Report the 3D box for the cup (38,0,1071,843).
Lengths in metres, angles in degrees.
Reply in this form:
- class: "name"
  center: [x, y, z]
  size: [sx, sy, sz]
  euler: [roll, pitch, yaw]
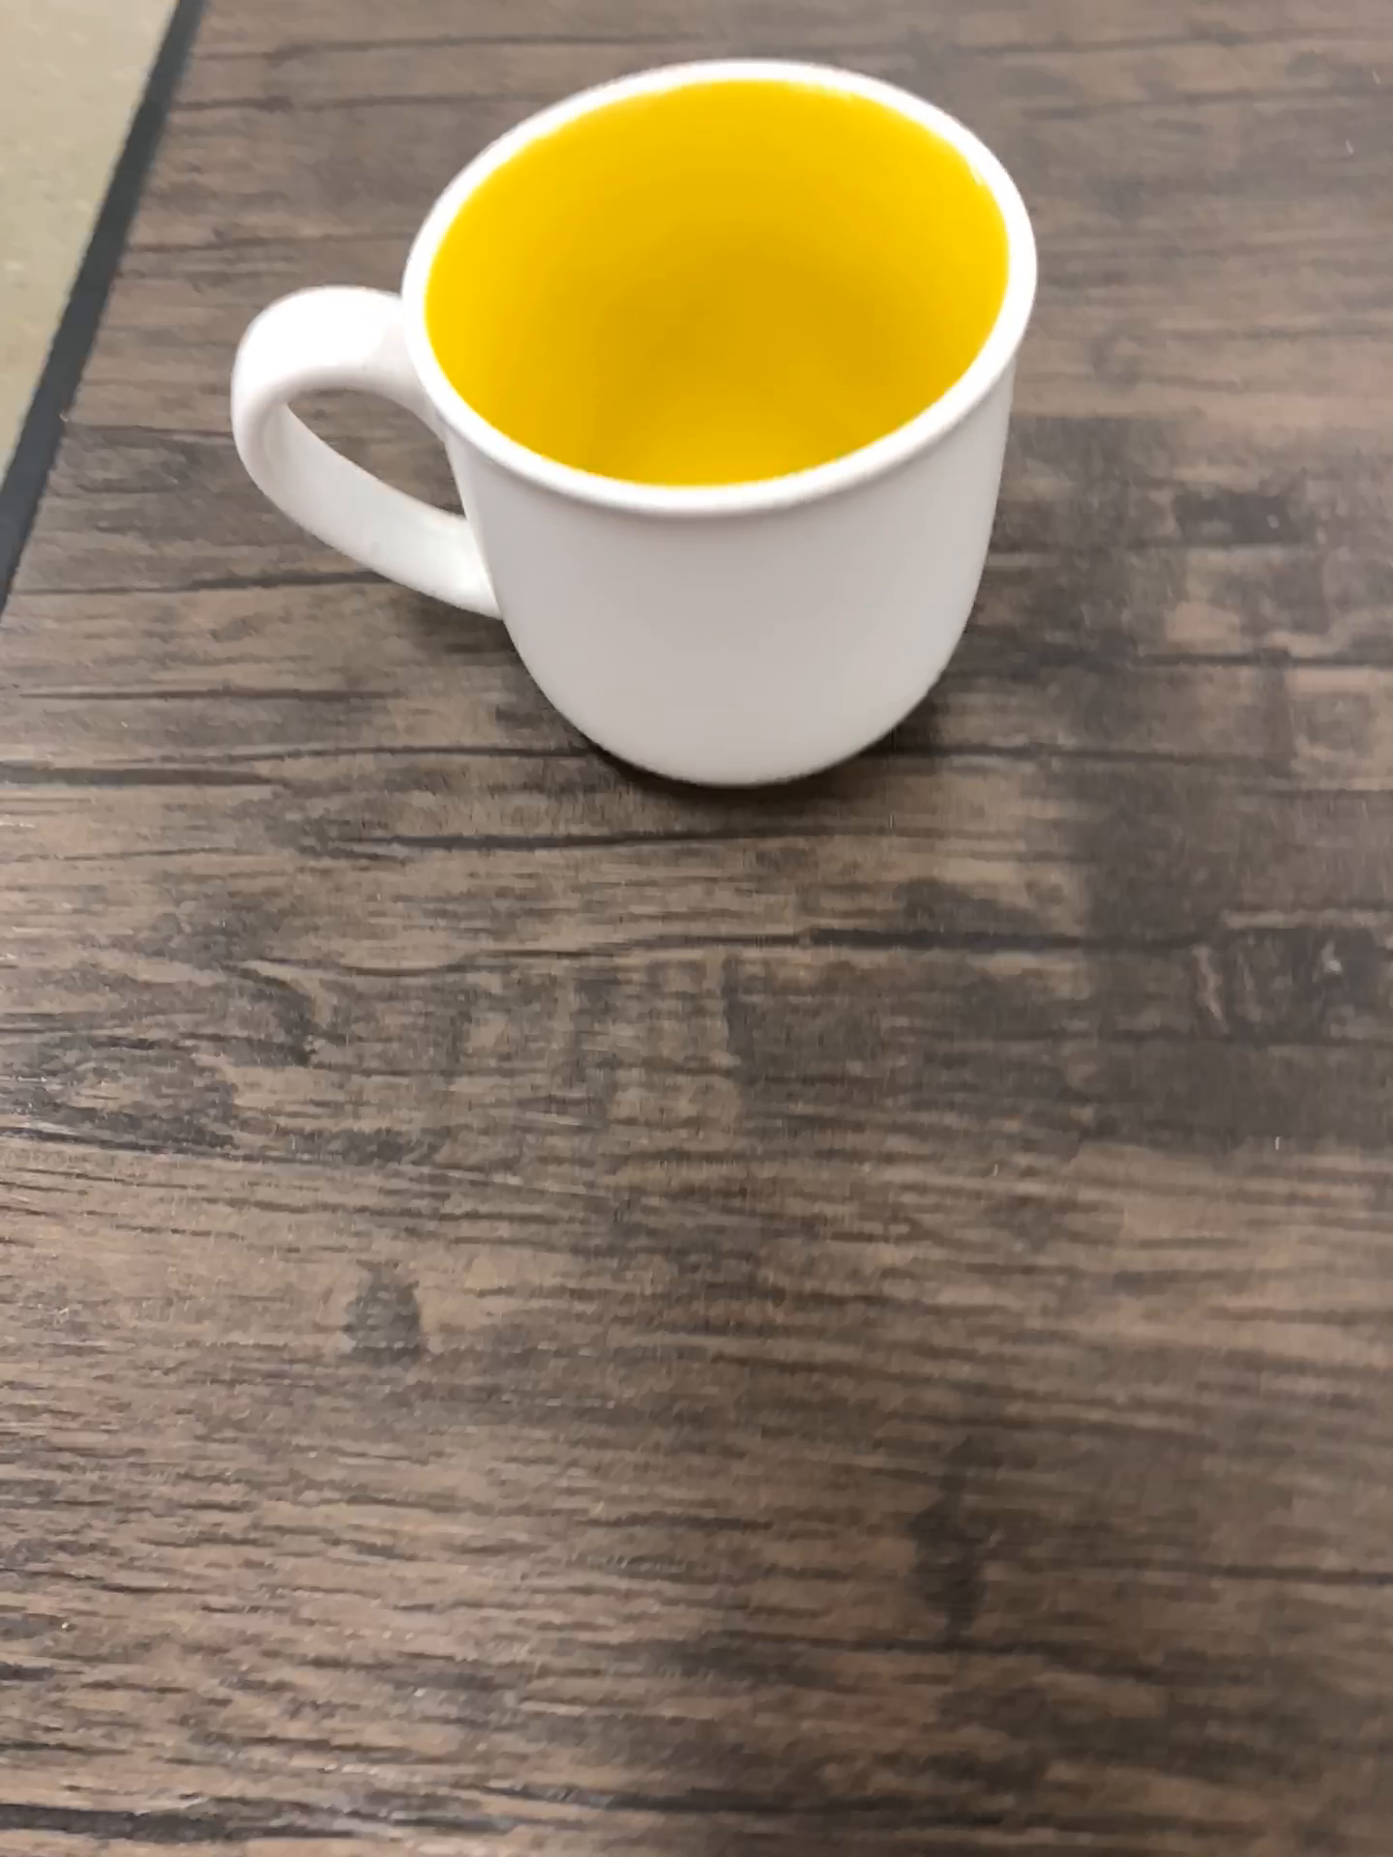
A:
- class: "cup"
  center: [-0.013, -0.079, 0.256]
  size: [0.130, 0.100, 0.080]
  euler: [5, 63, 7]
